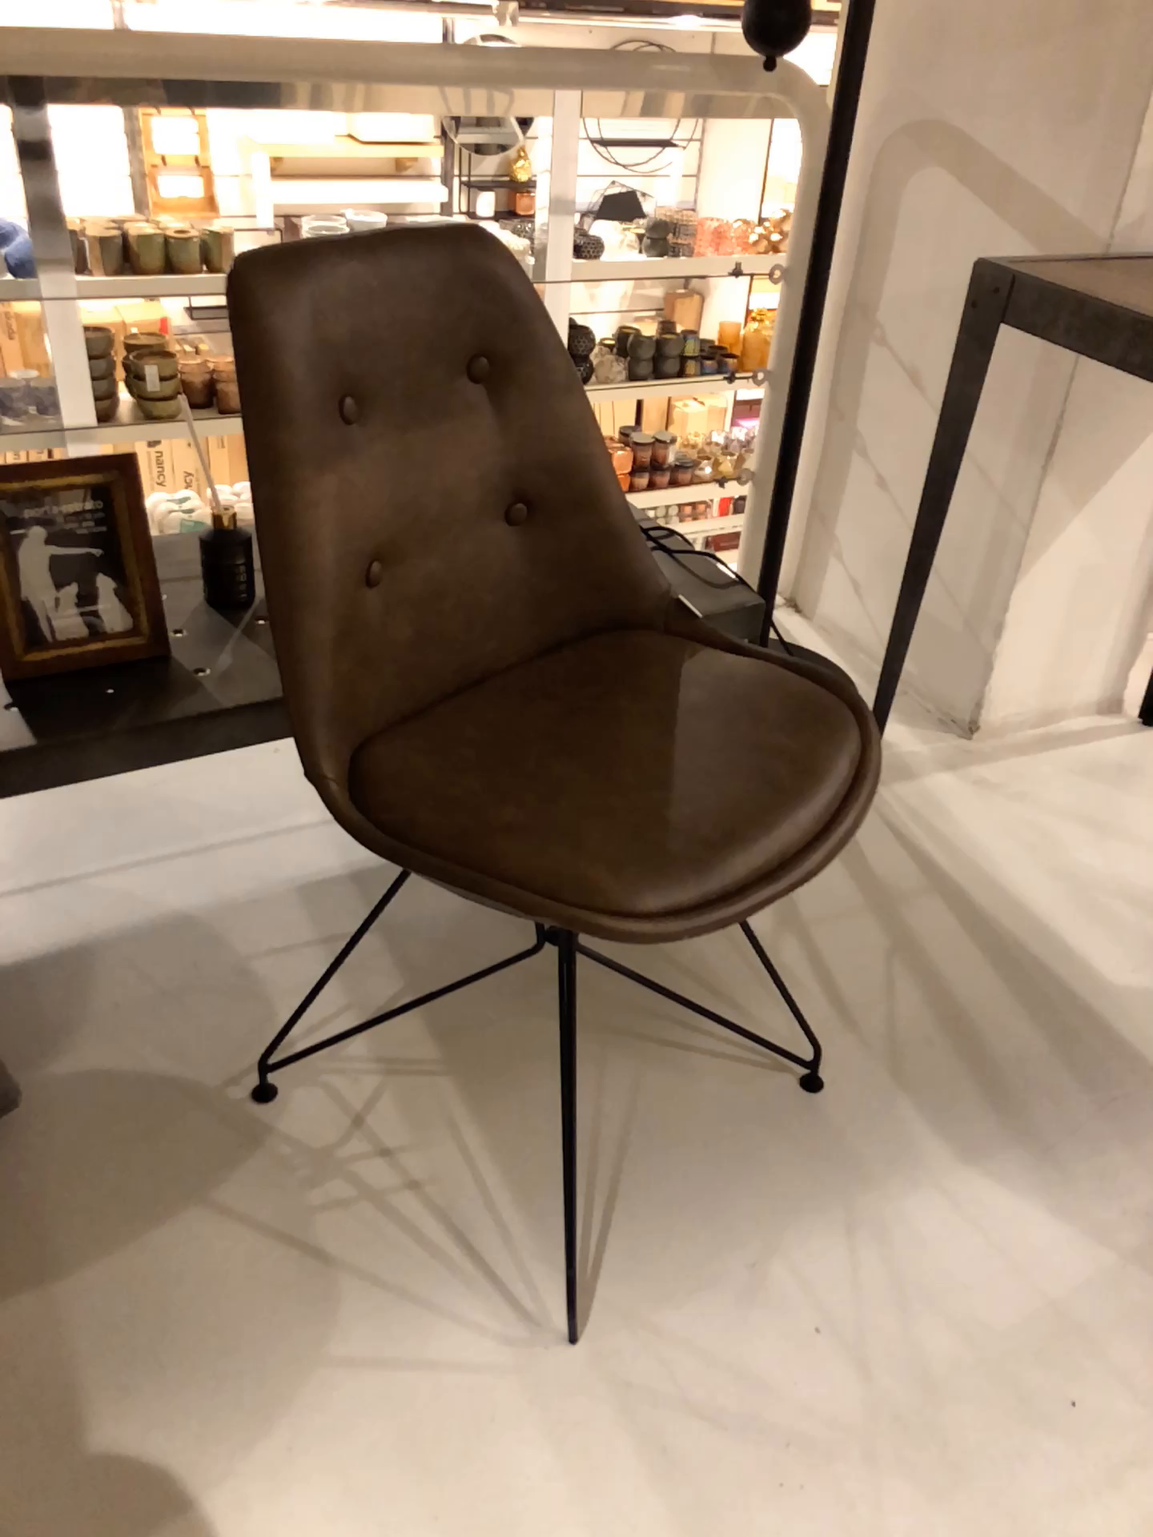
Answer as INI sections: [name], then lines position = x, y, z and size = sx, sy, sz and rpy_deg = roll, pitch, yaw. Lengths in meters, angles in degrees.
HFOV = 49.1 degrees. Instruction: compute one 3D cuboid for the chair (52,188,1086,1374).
[chair]
position = -0.023, -0.038, 1.119
size = 0.552, 0.754, 0.513
rpy_deg = 29, 40, 31
